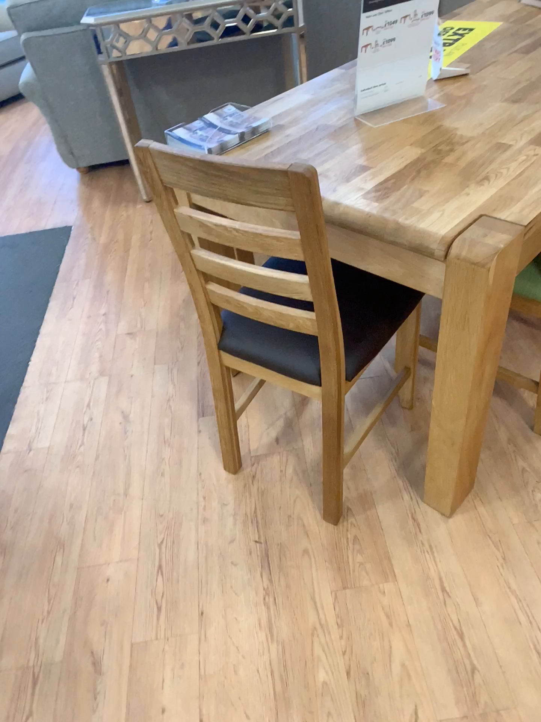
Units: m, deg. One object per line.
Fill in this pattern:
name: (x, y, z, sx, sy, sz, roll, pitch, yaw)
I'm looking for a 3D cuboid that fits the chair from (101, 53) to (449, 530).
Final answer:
chair: (0.077, -0.140, 1.308, 0.422, 0.917, 0.520, 21, 50, 29)
